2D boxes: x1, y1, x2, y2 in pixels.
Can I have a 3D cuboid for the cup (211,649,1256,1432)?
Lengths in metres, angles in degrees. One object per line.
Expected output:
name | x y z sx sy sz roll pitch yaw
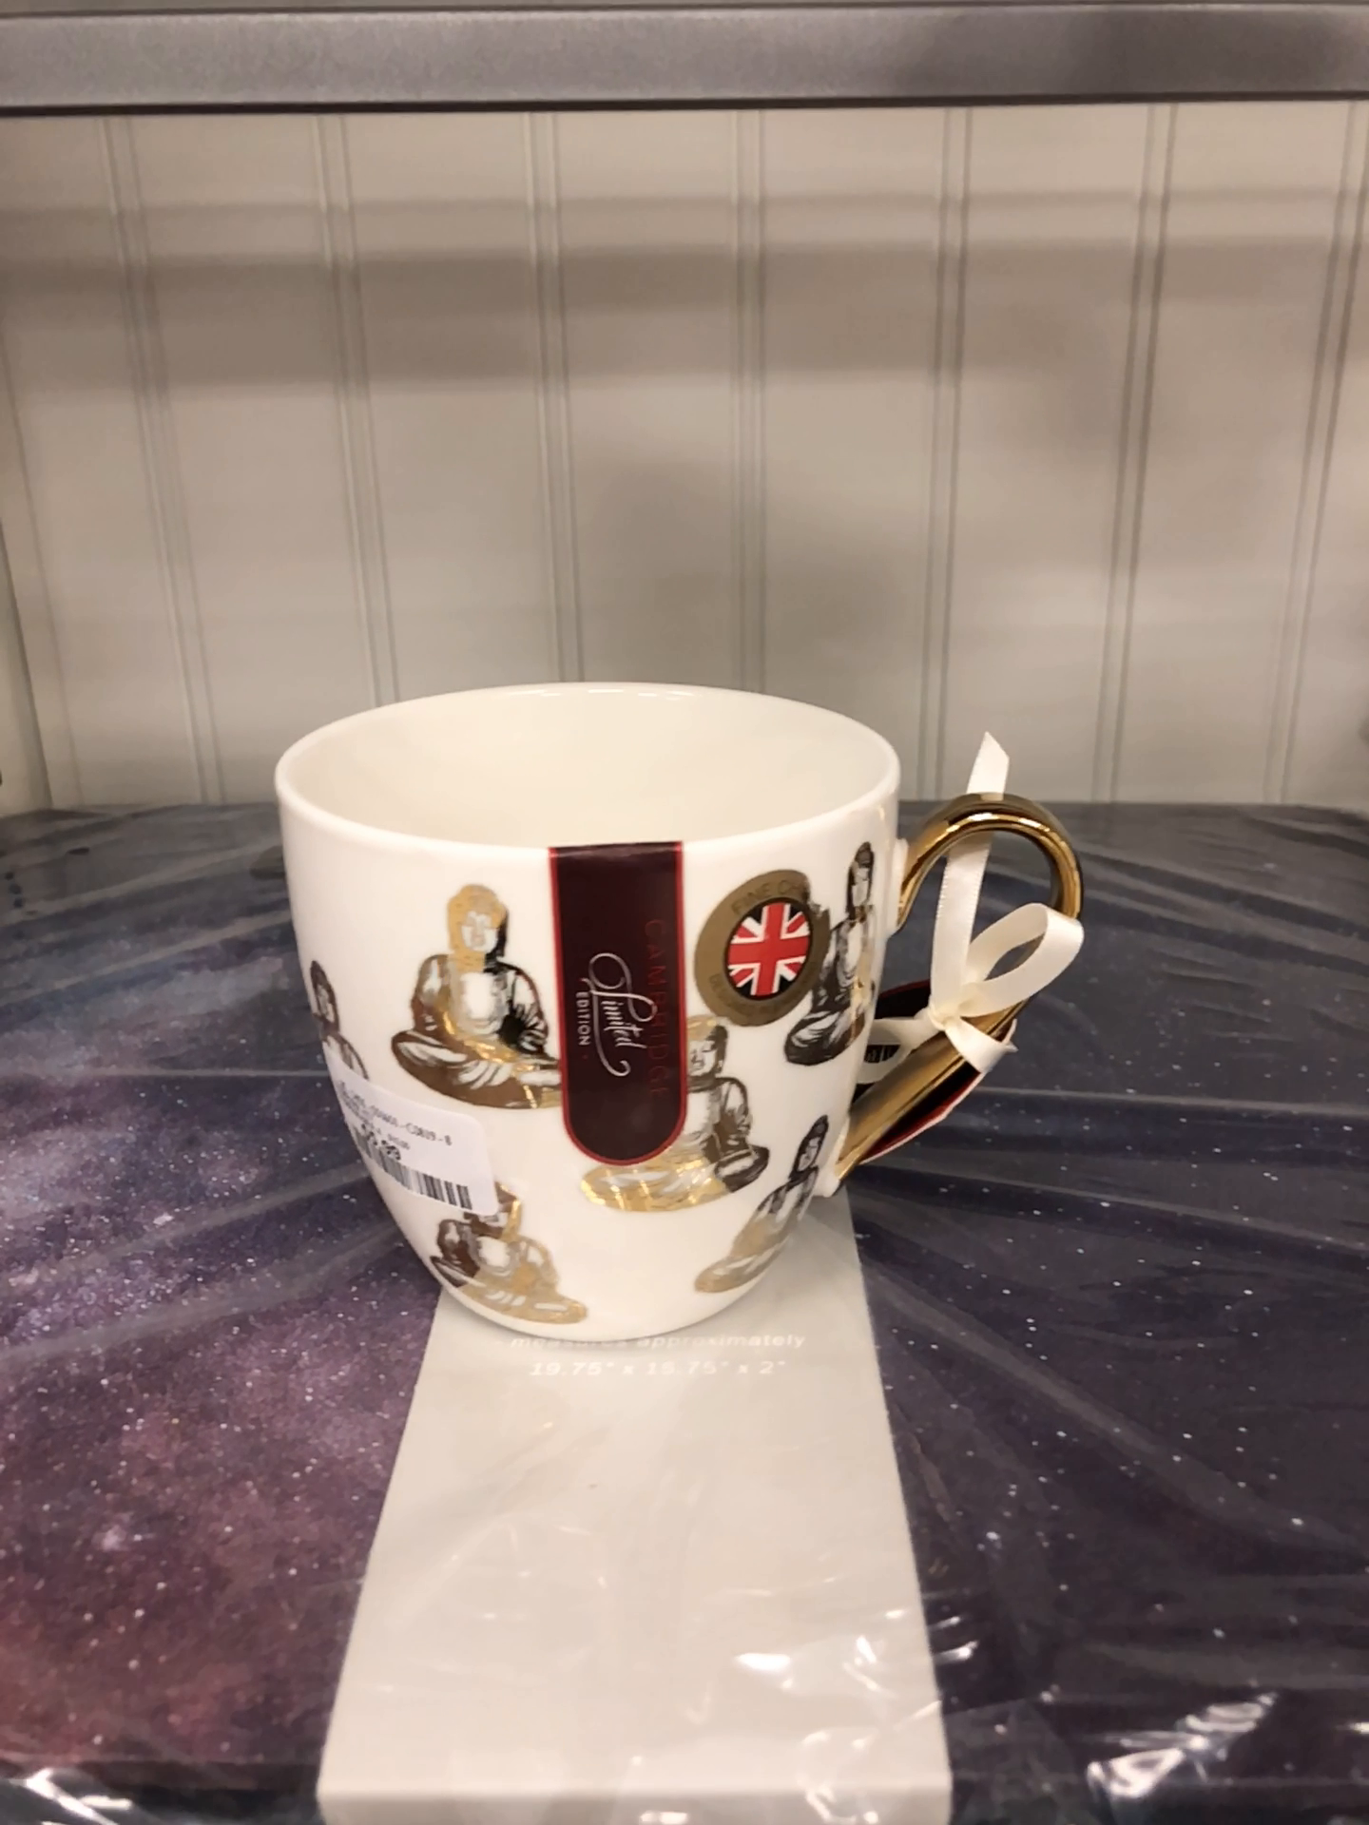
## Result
cup | 0.005 0.013 0.261 0.137 0.089 0.101 -3 22 -4
